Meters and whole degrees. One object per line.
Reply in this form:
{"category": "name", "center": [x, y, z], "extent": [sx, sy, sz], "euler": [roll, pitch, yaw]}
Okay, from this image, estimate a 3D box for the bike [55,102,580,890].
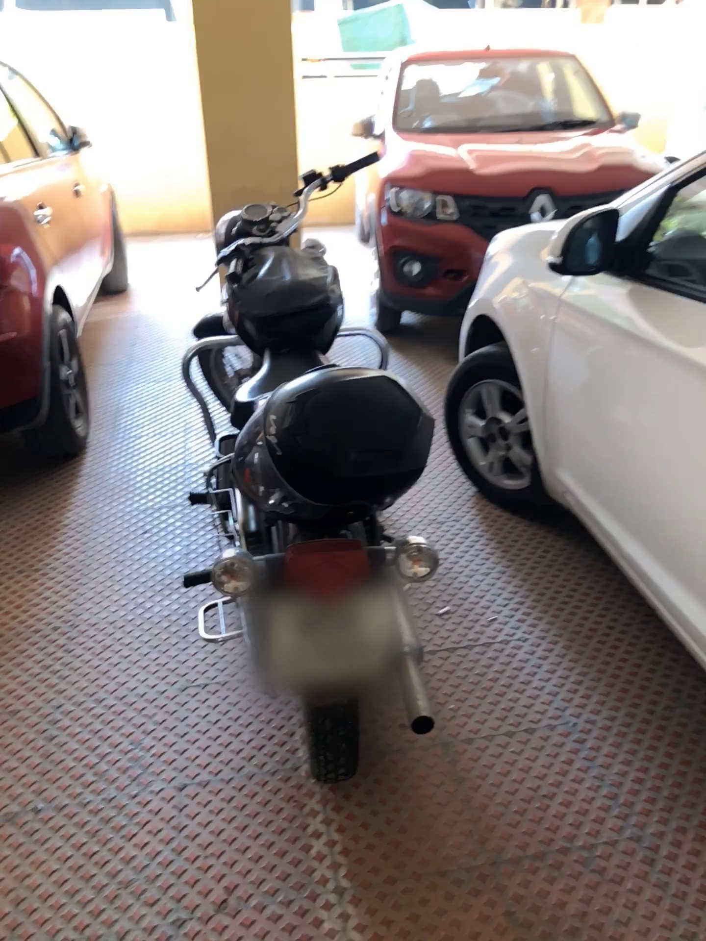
{"category": "bike", "center": [-0.302, -0.177, 2.038], "extent": [0.691, 1.218, 1.793], "euler": [-9, 32, -15]}
